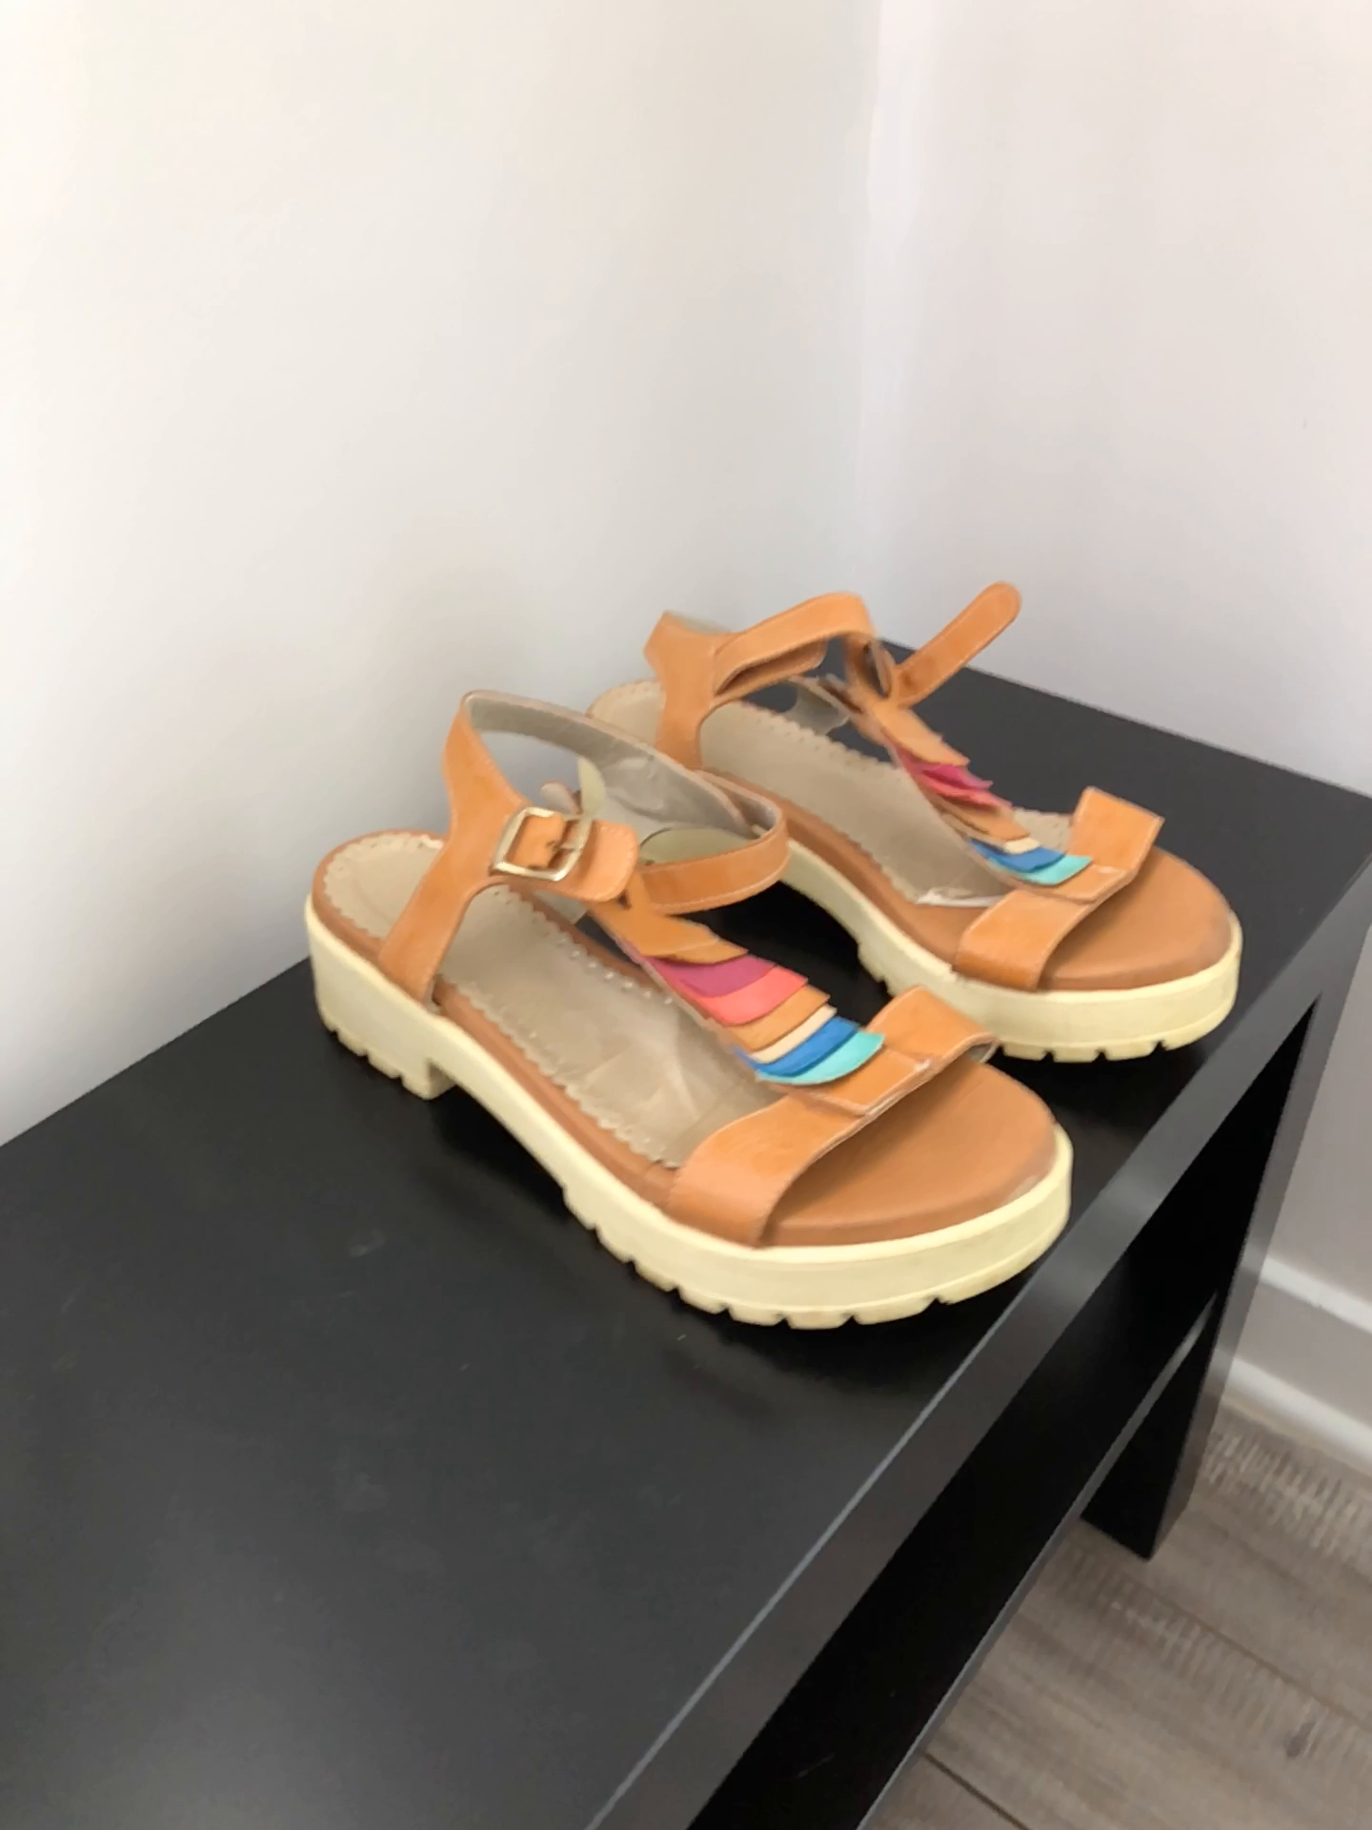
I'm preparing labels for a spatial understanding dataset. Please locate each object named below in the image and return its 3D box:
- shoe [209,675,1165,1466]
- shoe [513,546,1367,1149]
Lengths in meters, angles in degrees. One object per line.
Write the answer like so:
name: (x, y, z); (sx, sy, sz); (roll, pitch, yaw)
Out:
shoe: (-0.011, 0.025, 0.425); (0.248, 0.083, 0.100); (27, 44, 32)
shoe: (0.069, -0.037, 0.492); (0.248, 0.077, 0.100); (27, 44, 32)
